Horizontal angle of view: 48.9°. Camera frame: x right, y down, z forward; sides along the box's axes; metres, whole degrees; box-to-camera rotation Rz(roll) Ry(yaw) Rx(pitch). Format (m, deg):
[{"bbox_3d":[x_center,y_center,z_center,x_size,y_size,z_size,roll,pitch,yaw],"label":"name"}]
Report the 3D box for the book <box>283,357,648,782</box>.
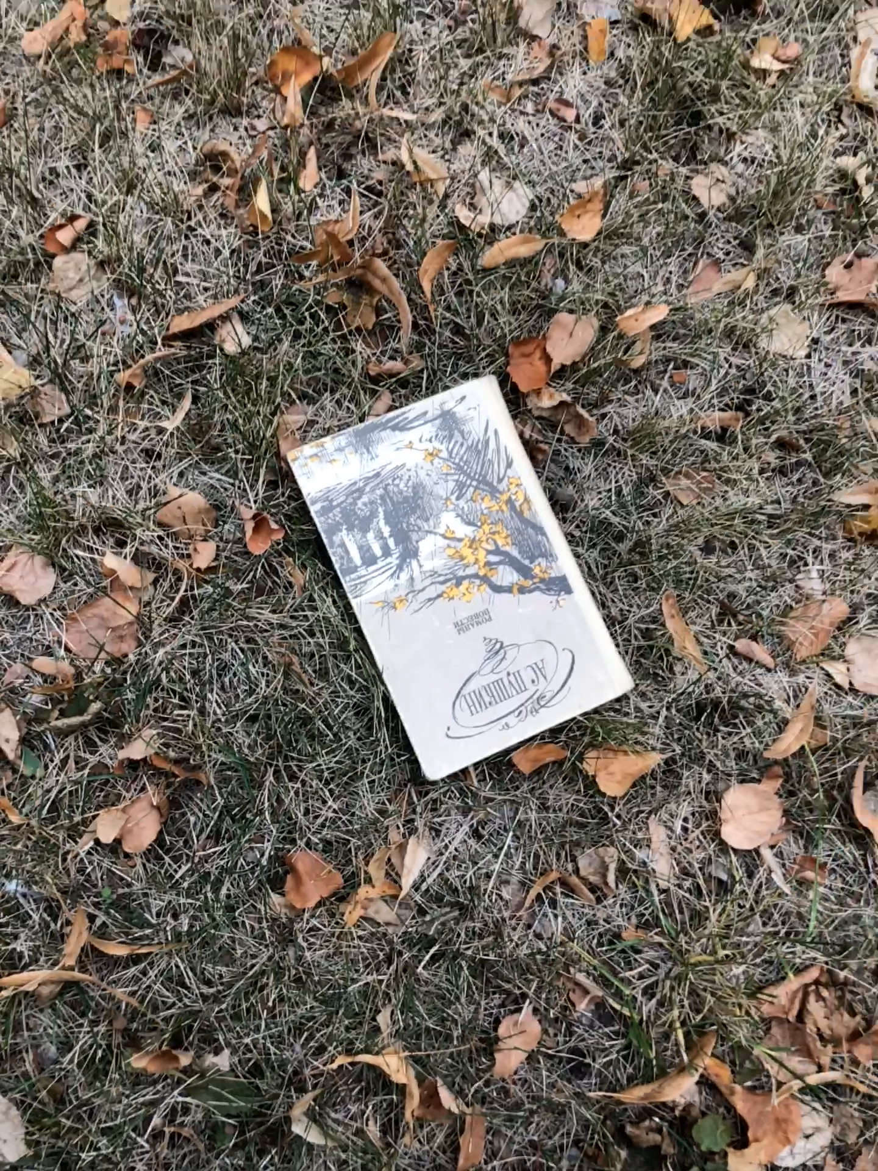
[{"bbox_3d":[0.014,-0.012,0.562,0.135,0.021,0.210,-23,83,-9],"label":"book"}]
